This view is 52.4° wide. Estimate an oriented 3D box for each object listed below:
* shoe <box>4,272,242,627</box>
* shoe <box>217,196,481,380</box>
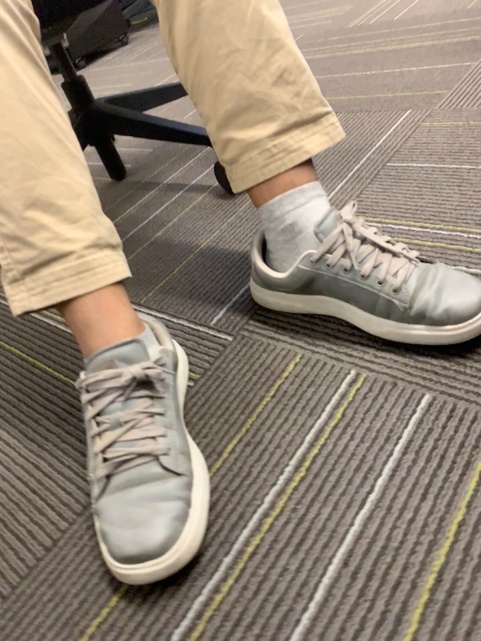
[{"bbox_3d":[-0.095,0.101,0.462,0.120,0.139,0.272,-18,38,5],"label":"shoe"},{"bbox_3d":[0.131,-0.052,0.542,0.281,0.109,0.120,15,51,37],"label":"shoe"}]
